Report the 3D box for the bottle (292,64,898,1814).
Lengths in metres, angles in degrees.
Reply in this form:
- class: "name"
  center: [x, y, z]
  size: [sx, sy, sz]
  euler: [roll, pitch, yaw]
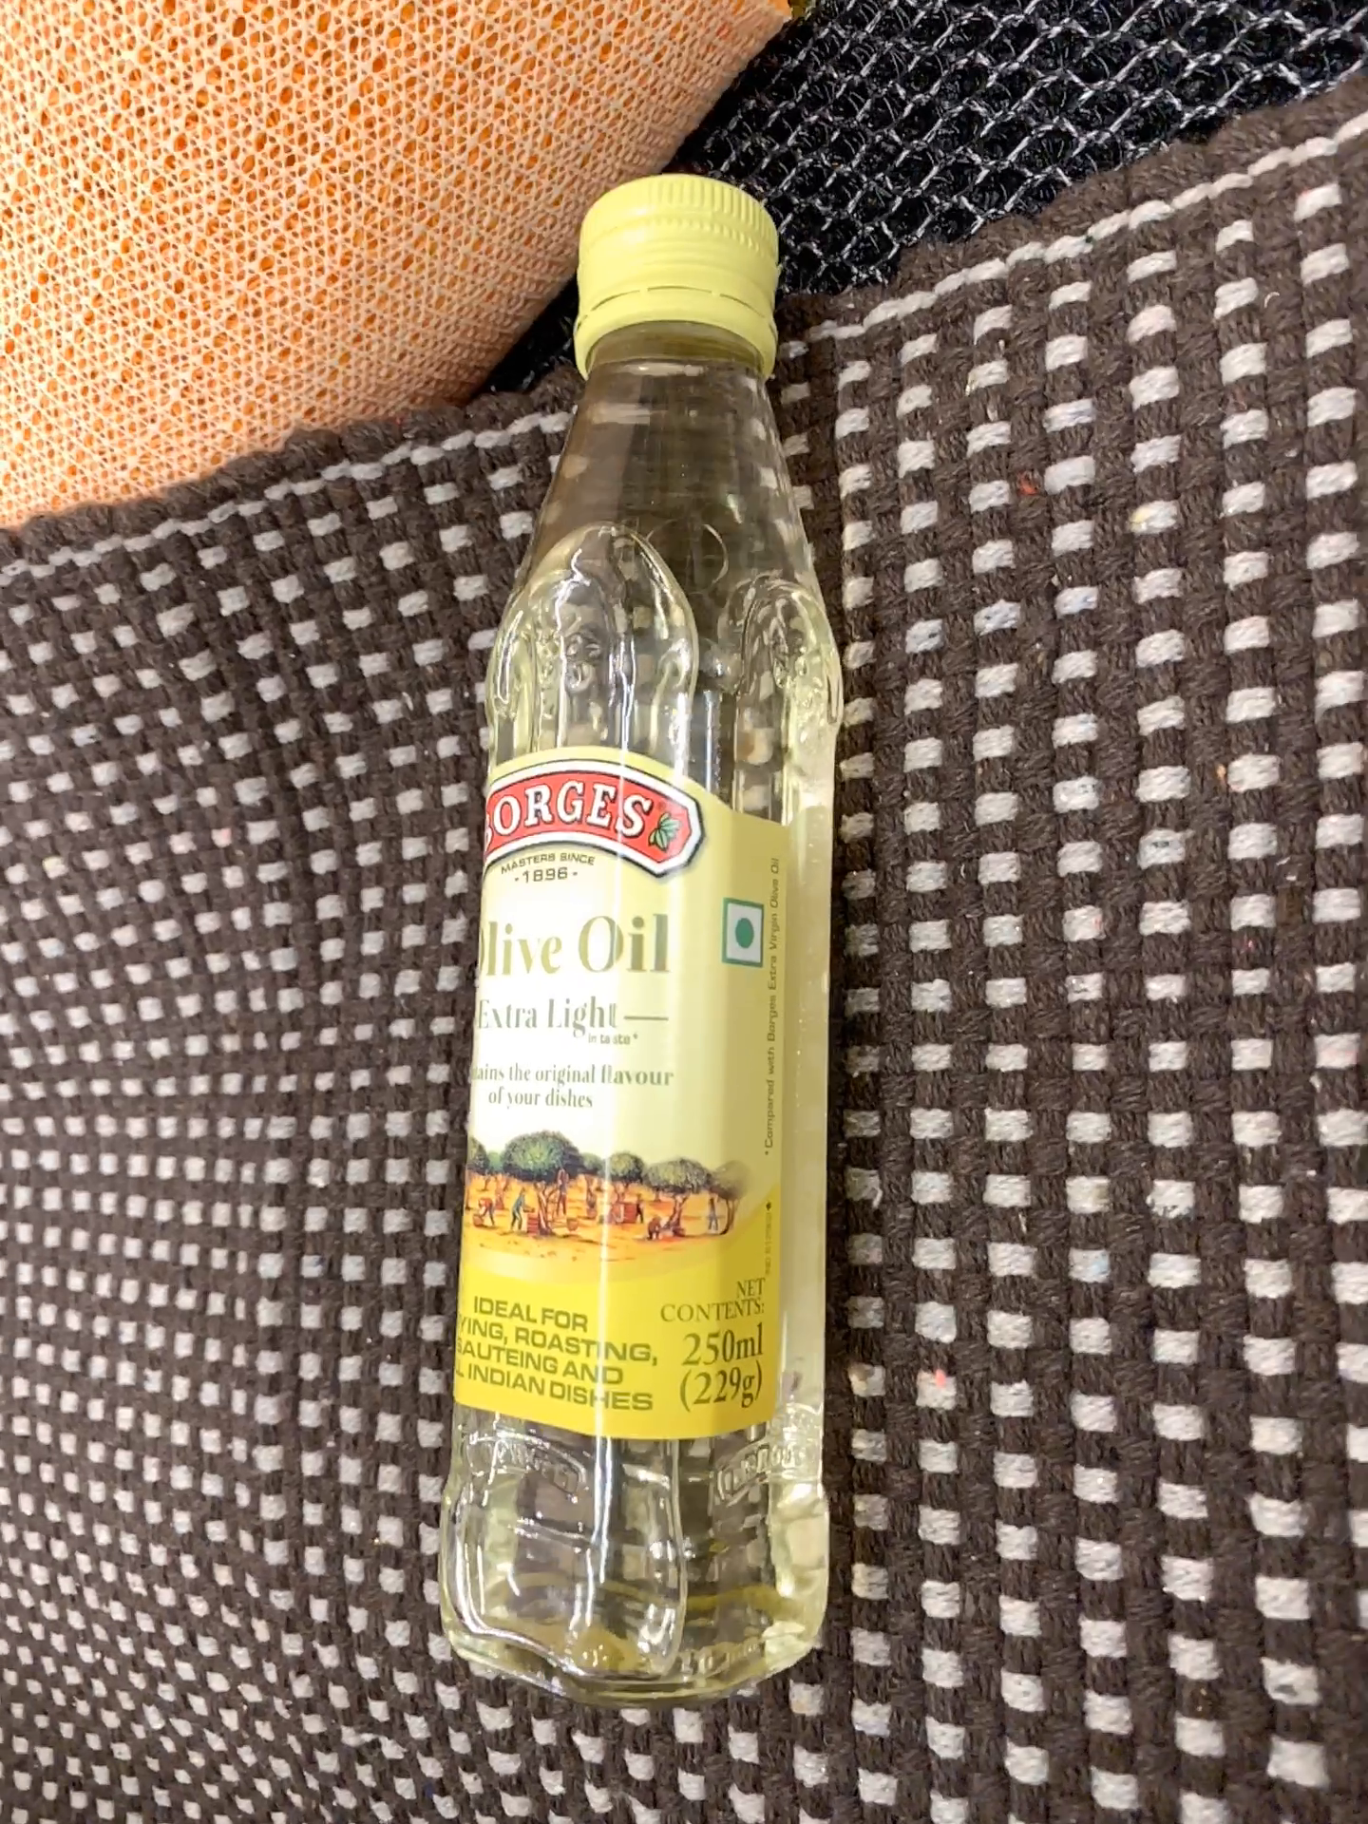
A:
- class: "bottle"
  center: [-0.011, 0.000, 0.196]
  size: [0.060, 0.040, 0.200]
  euler: [0, 84, 37]
